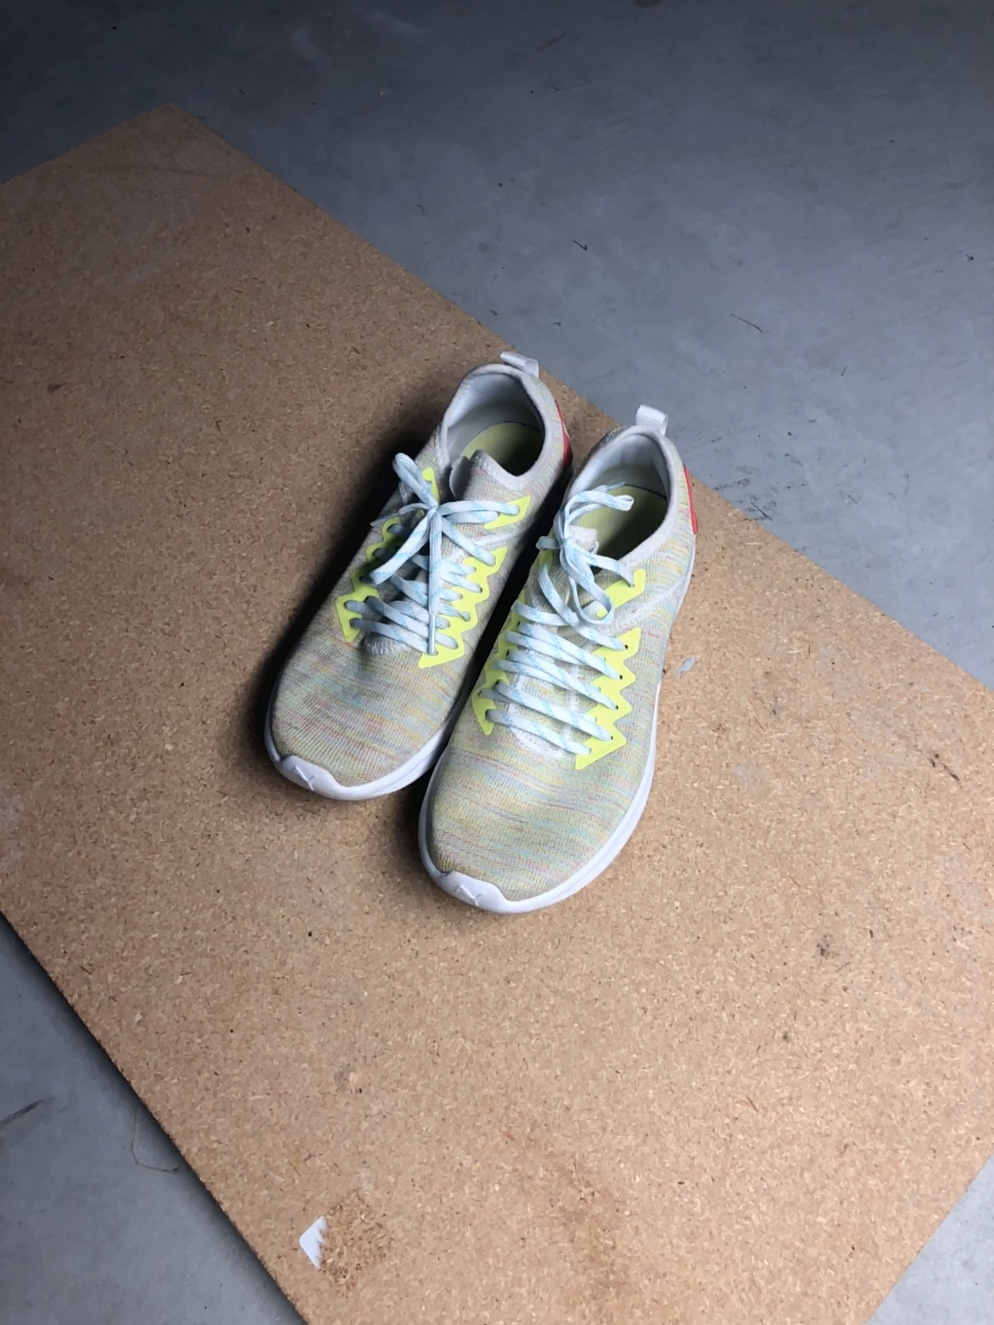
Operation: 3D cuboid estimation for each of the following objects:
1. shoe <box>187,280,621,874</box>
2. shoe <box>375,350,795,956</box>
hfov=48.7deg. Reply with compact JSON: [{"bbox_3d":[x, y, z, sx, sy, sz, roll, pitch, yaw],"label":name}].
[{"bbox_3d":[-0.040,-0.051,0.604,0.100,0.100,0.300,23,68,6],"label":"shoe"},{"bbox_3d":[0.051,-0.010,0.602,0.110,0.100,0.300,23,68,6],"label":"shoe"}]
